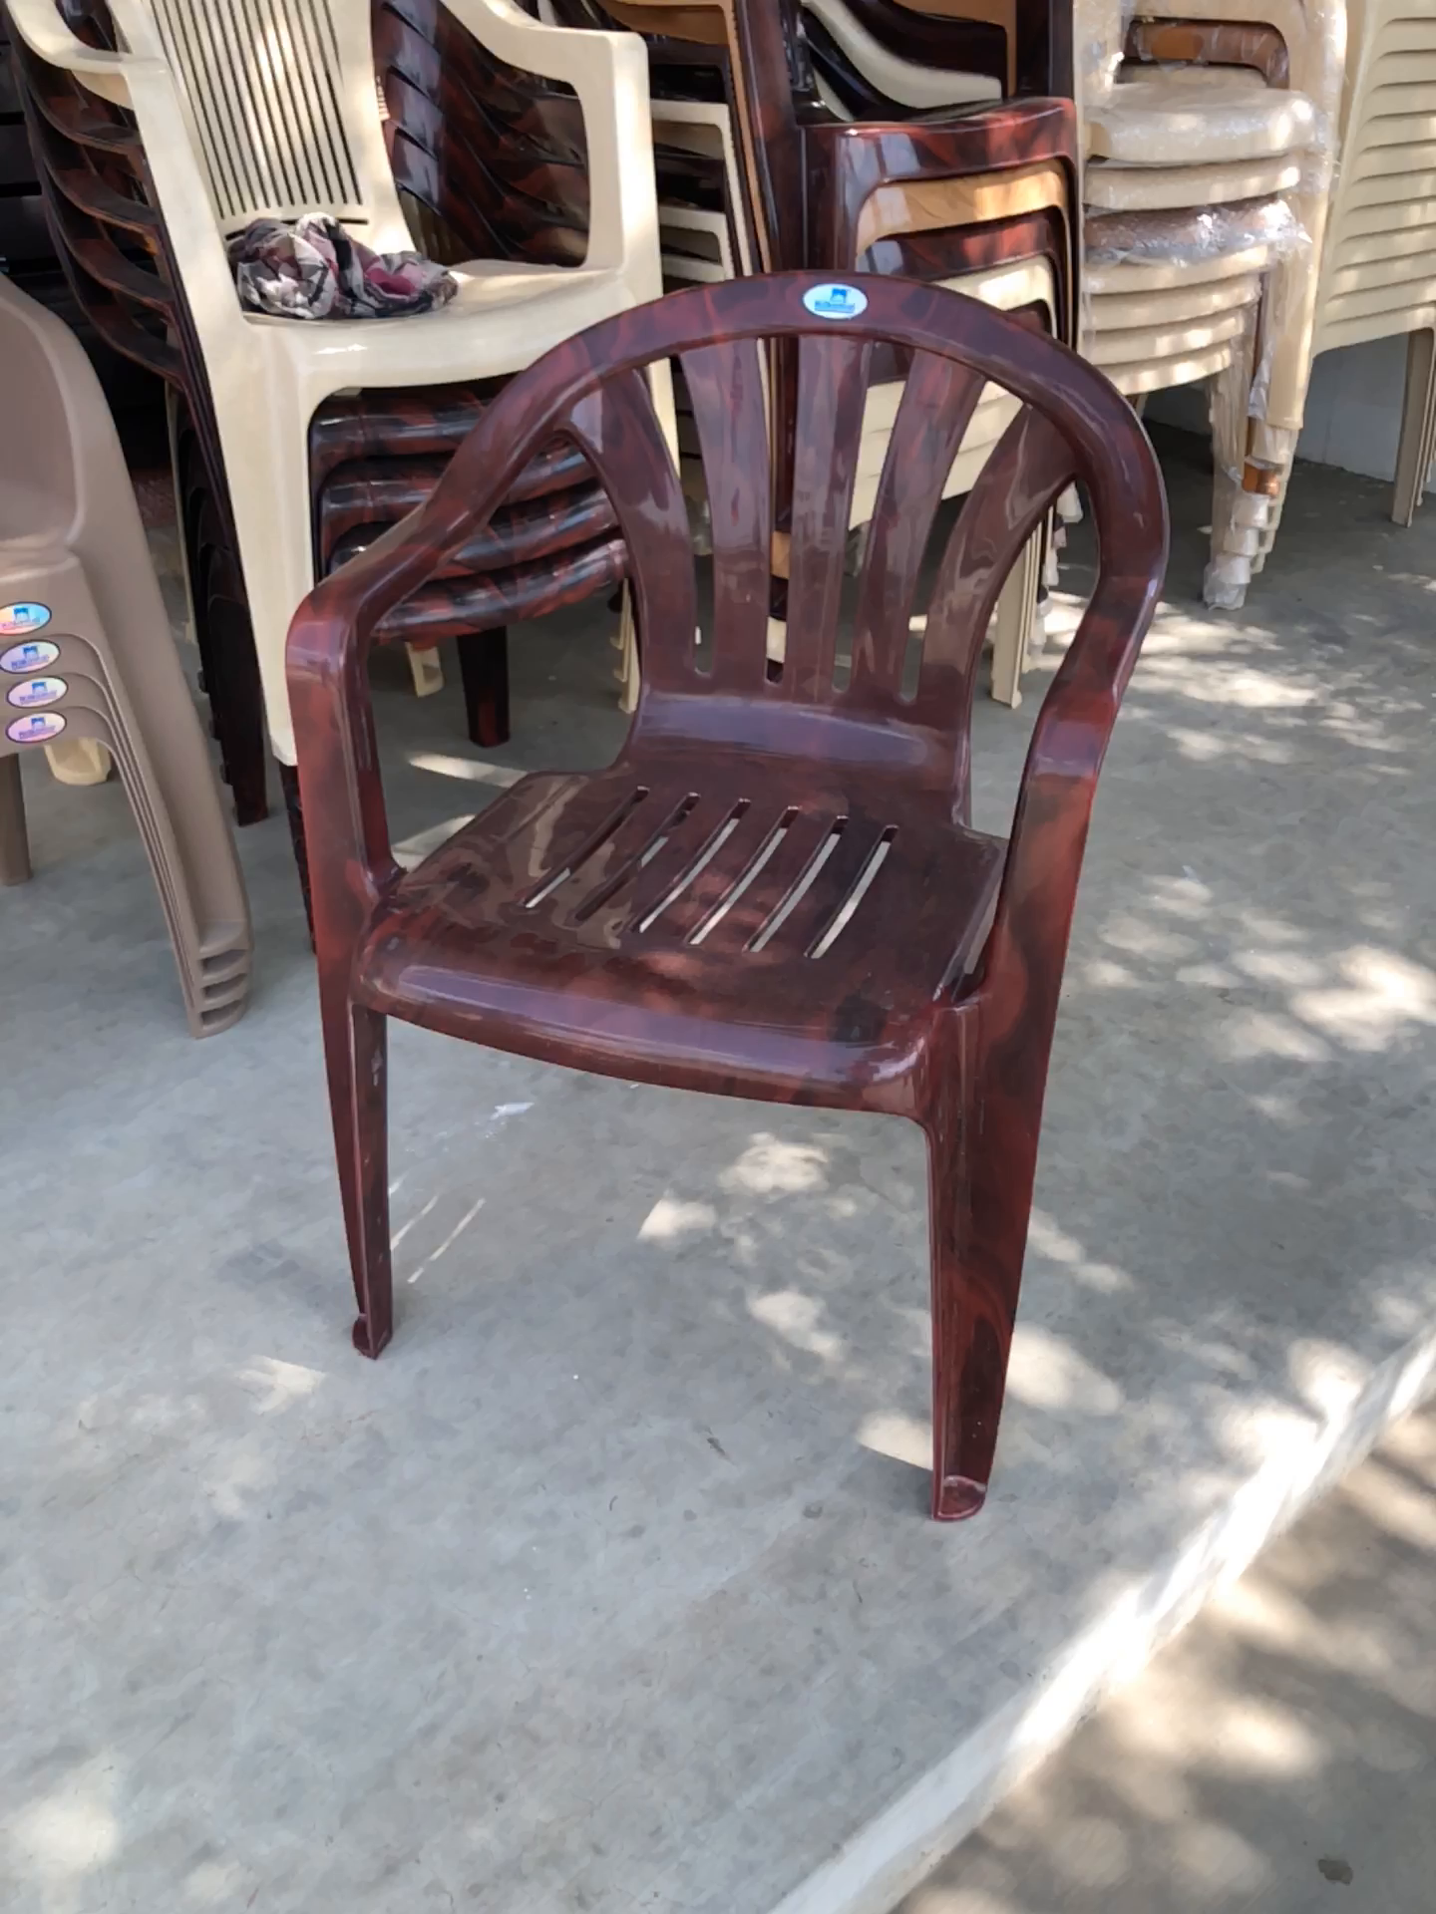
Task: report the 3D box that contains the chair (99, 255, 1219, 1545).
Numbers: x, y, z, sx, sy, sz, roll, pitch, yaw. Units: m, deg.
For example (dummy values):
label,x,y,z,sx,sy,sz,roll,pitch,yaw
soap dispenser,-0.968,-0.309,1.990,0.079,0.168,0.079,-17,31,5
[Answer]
label,x,y,z,sx,sy,sz,roll,pitch,yaw
chair,0.013,-0.077,1.227,0.580,0.766,0.523,10,34,16
